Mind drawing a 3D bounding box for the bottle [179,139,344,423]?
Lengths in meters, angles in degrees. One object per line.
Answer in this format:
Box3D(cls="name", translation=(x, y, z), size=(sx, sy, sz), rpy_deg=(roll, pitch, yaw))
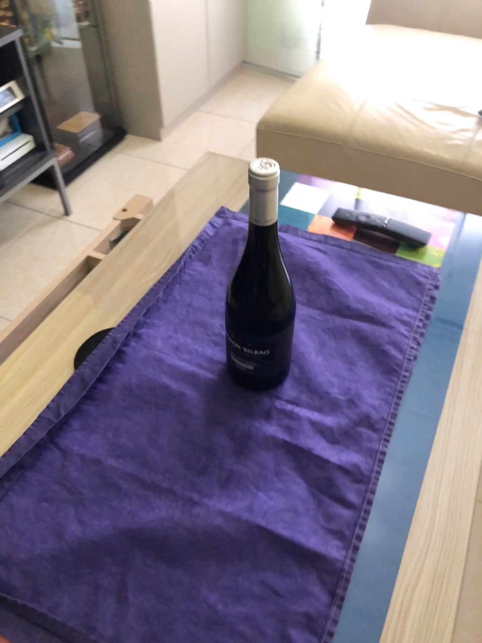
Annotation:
Box3D(cls="bottle", translation=(0.017, -0.029, 0.555), size=(0.100, 0.269, 0.100), rpy_deg=(0, 46, 0))
